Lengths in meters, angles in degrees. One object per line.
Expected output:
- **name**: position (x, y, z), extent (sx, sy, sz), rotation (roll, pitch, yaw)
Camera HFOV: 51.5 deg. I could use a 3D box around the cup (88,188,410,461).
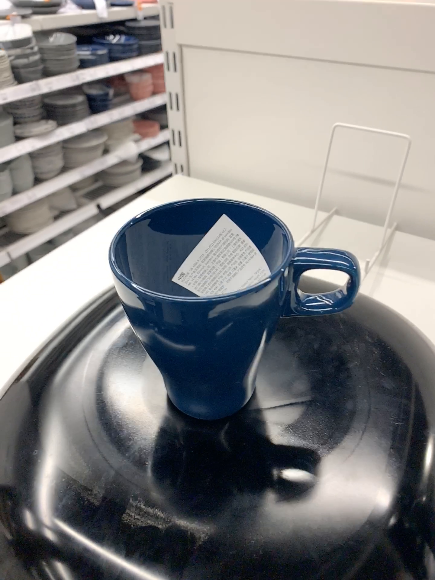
- **cup**: position (0.009, 0.015, 0.233), extent (0.120, 0.100, 0.090), rotation (-3, 37, -3)
